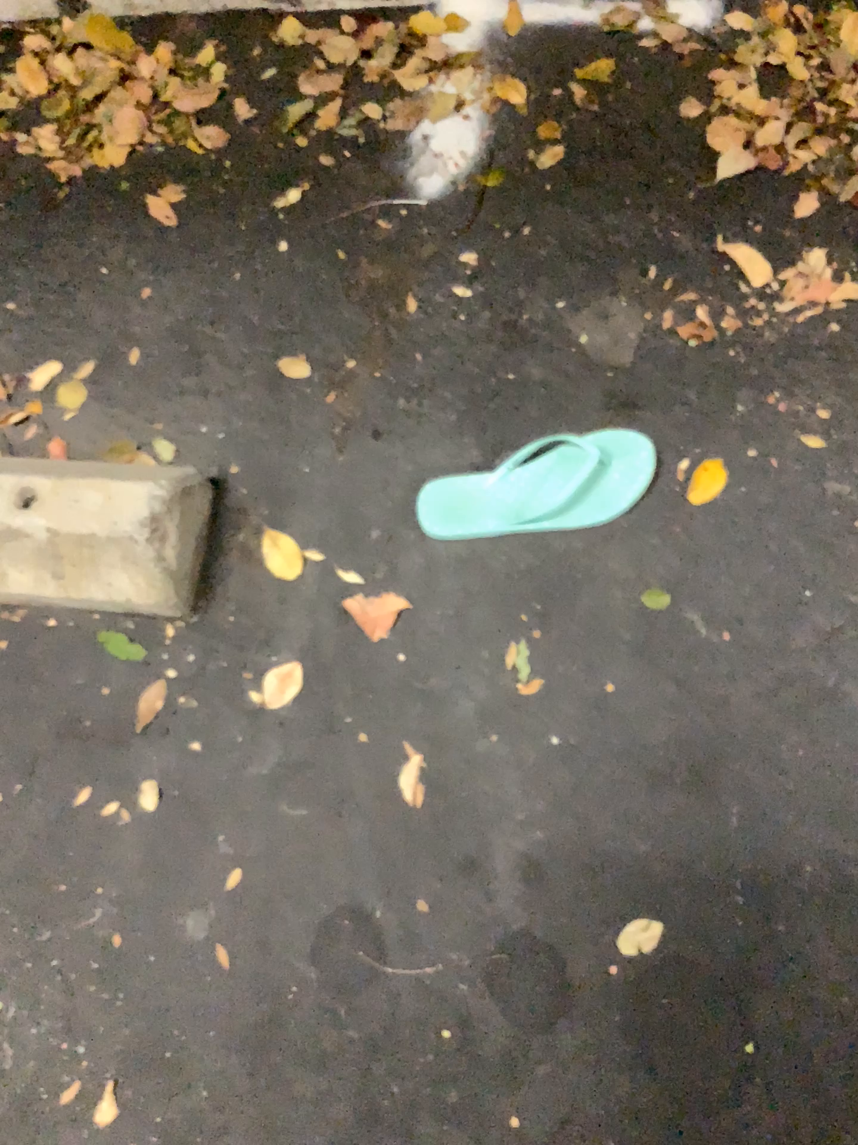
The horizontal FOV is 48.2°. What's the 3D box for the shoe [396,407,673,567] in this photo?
[{"bbox_3d":[0.111,-0.093,1.050,0.280,0.050,0.120,-9,67,5],"label":"shoe"}]
